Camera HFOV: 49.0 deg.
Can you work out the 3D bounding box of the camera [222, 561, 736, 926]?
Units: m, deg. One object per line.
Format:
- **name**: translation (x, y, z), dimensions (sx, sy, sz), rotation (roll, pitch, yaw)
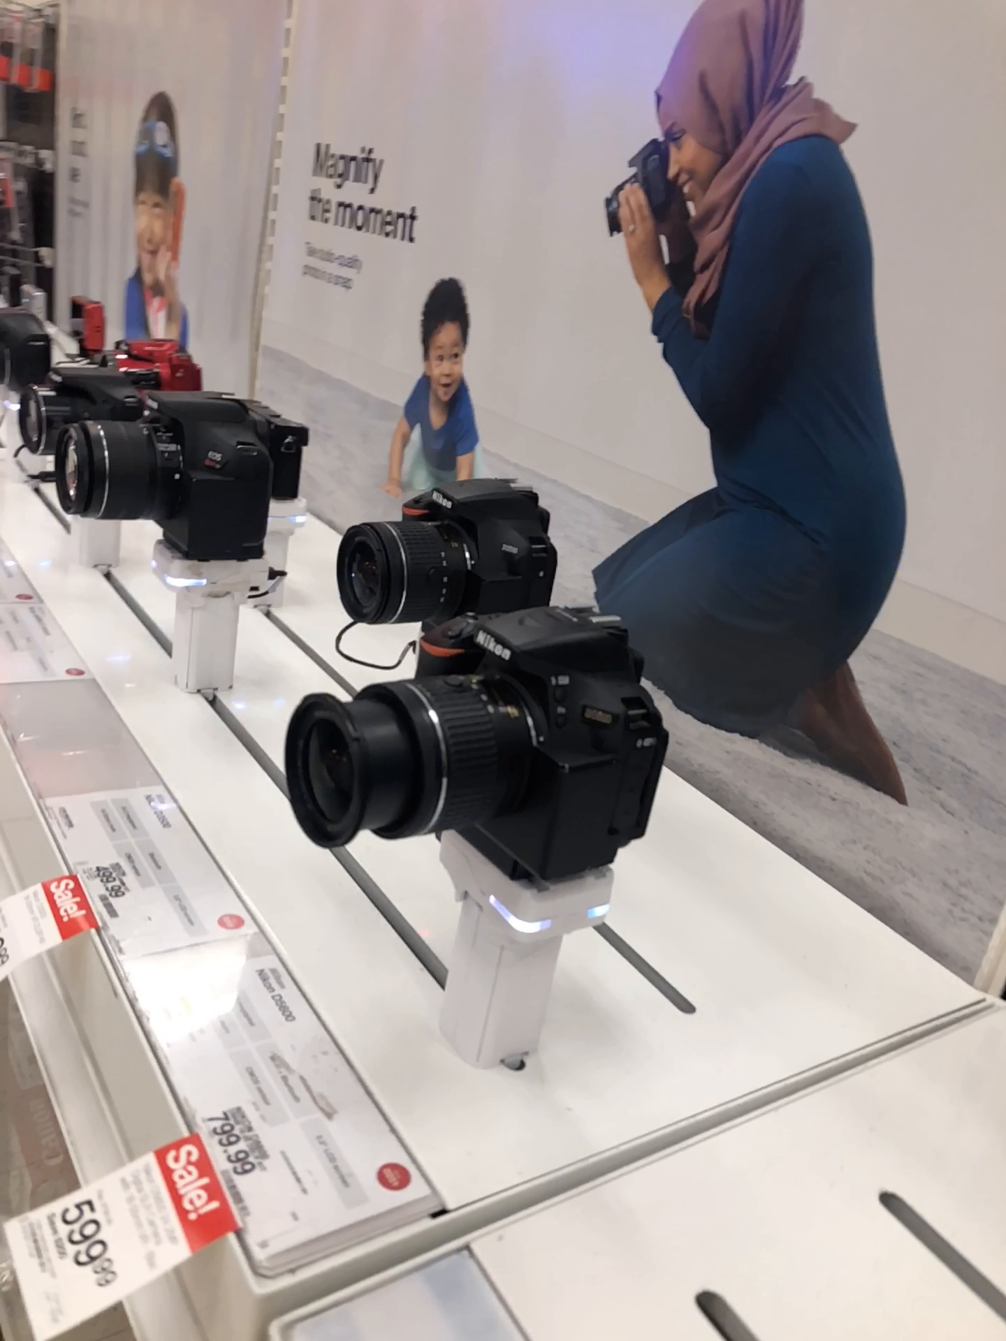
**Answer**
- **camera**: translation (-0.014, 0.019, 0.482), dimensions (0.170, 0.090, 0.130), rotation (-6, 27, -35)
